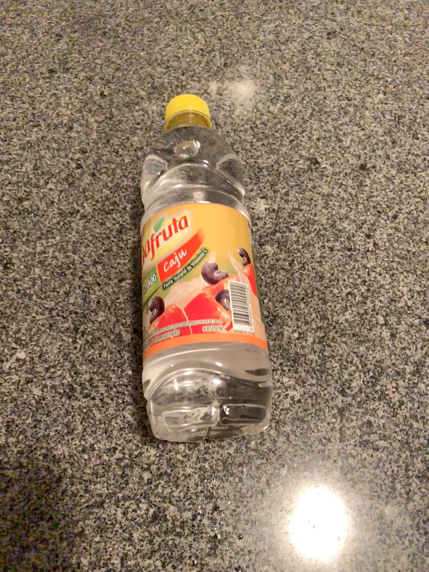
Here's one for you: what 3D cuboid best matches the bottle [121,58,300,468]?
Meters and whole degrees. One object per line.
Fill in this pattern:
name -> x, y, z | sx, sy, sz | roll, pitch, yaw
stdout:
bottle -> -0.013, -0.027, 0.253 | 0.070, 0.060, 0.230 | -4, 63, -4
